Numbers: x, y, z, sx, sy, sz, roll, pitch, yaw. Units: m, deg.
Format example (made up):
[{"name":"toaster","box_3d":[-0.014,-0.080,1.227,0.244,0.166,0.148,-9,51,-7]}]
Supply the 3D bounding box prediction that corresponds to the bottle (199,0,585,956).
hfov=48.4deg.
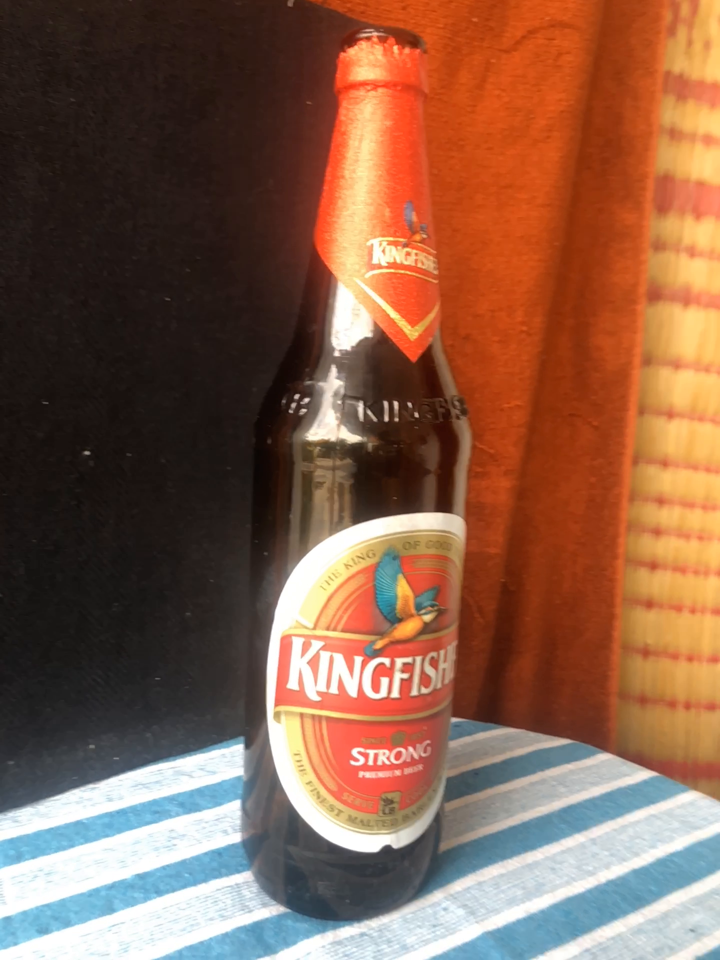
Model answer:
[{"name":"bottle","box_3d":[0.002,-0.002,0.272,0.080,0.289,0.070,-1,12,-29]}]
